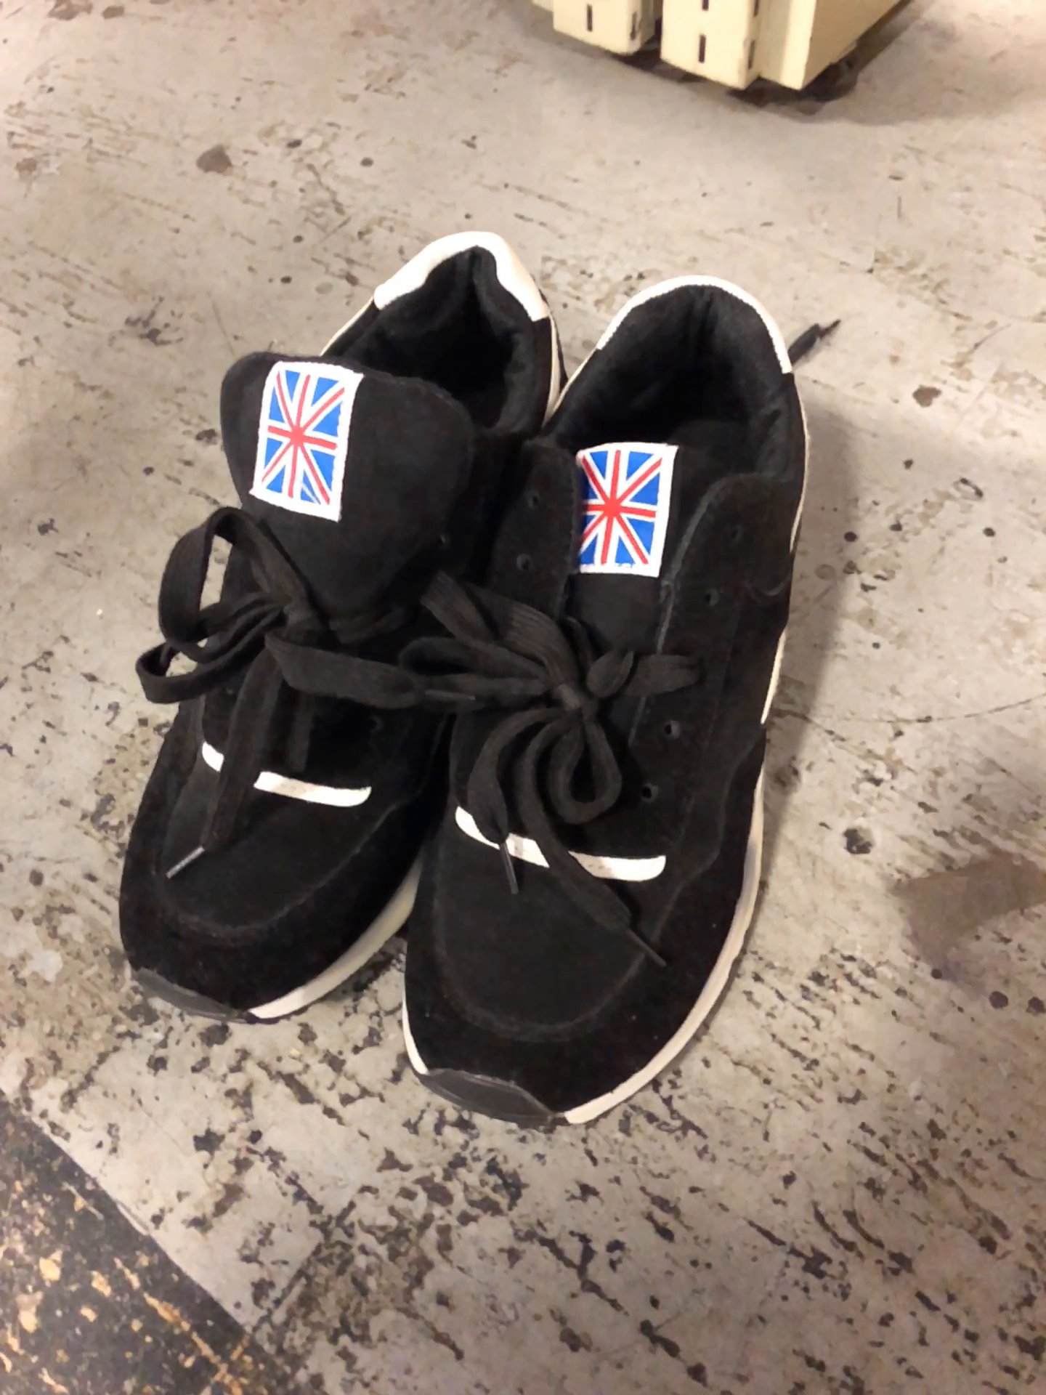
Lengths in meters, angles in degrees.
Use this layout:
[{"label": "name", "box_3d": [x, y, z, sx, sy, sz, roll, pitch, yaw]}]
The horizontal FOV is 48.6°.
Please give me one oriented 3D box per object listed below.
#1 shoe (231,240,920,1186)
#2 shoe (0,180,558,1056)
[{"label": "shoe", "box_3d": [0.030, -0.004, 0.345, 0.110, 0.109, 0.241, 14, 61, 13]}, {"label": "shoe", "box_3d": [-0.074, -0.030, 0.362, 0.100, 0.119, 0.231, 14, 61, 13]}]
